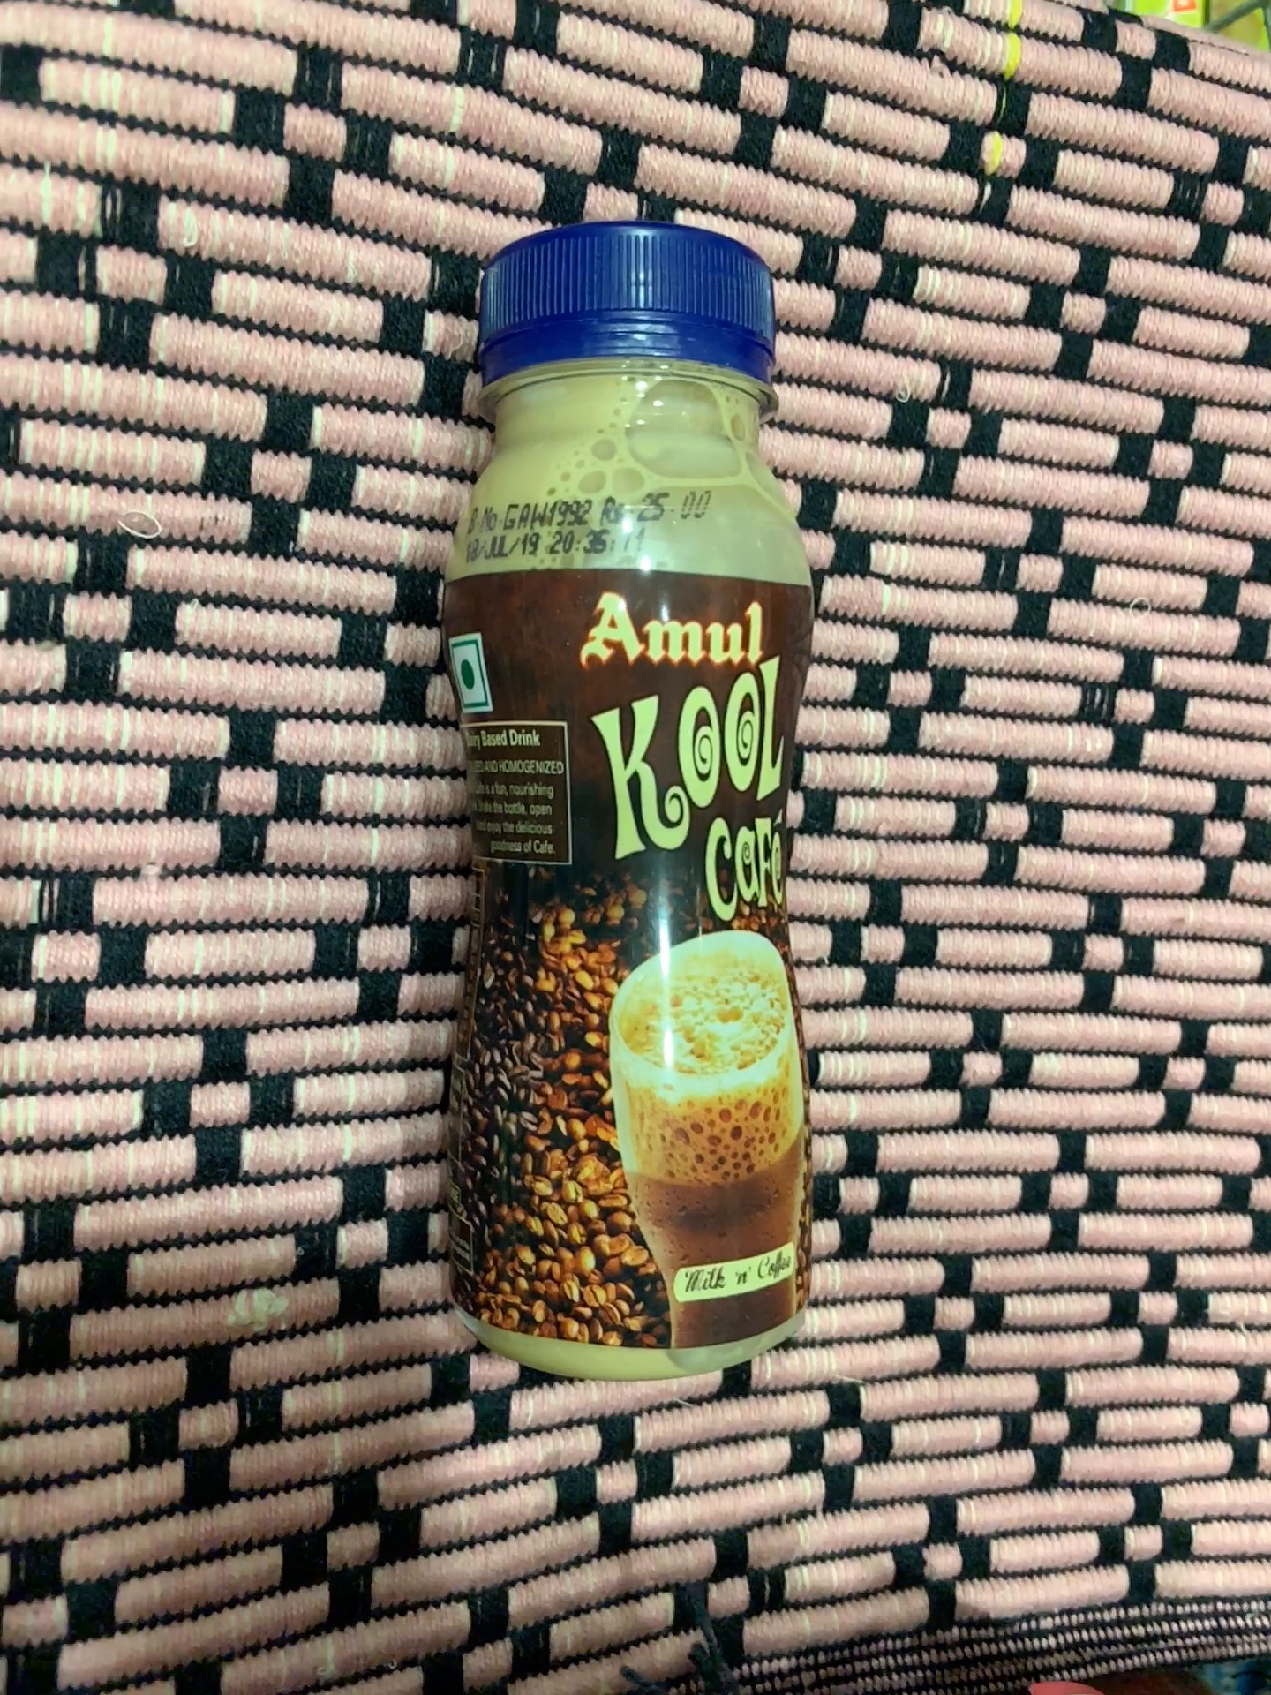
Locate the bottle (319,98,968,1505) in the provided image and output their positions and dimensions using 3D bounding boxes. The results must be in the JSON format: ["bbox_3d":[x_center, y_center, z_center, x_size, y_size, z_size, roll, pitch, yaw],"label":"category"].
[{"bbox_3d":[-0.001,-0.005,0.168,0.060,0.050,0.140,-3,90,-27],"label":"bottle"}]
